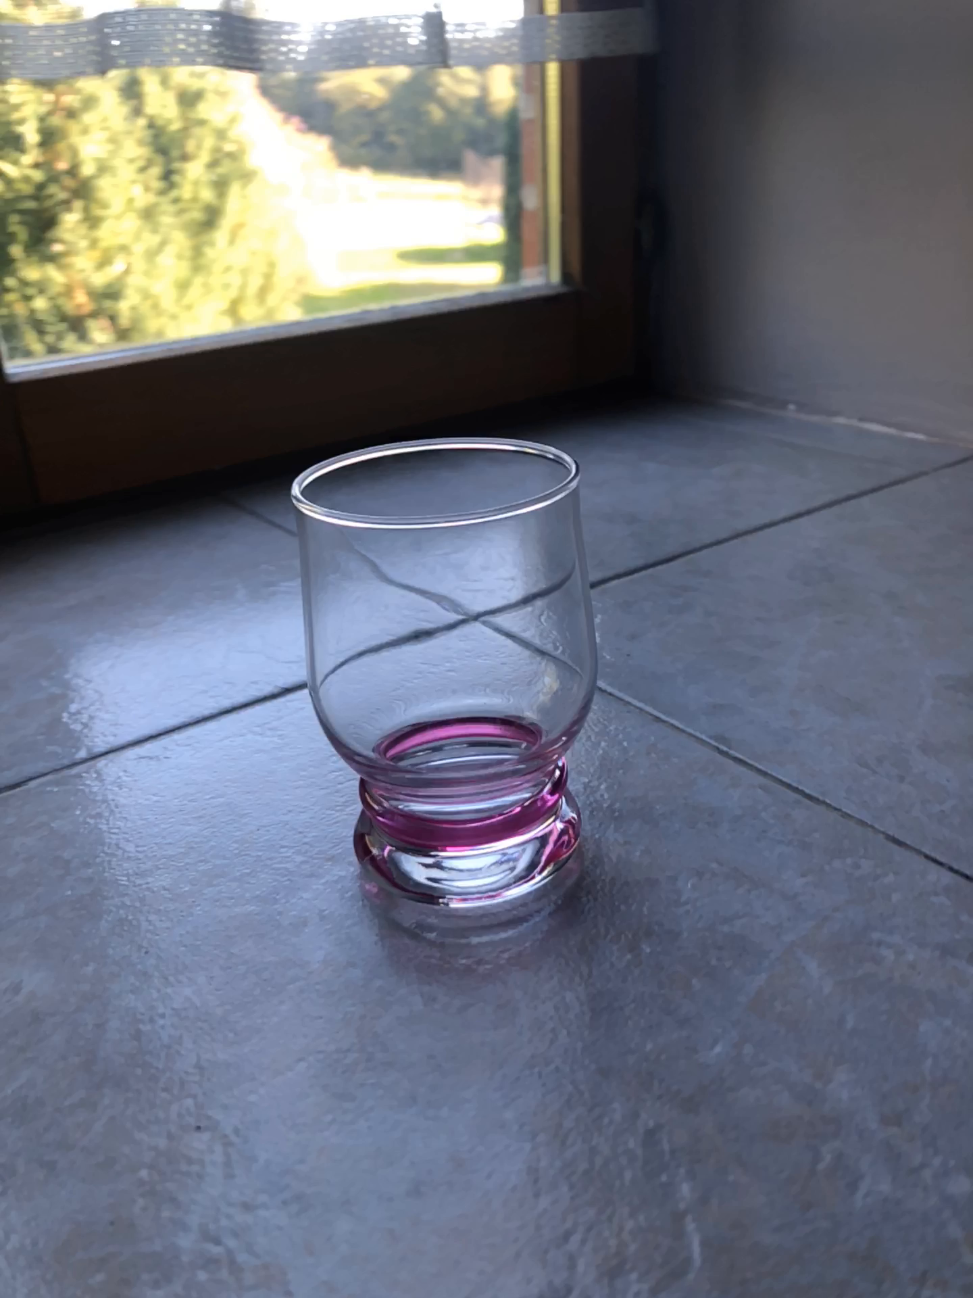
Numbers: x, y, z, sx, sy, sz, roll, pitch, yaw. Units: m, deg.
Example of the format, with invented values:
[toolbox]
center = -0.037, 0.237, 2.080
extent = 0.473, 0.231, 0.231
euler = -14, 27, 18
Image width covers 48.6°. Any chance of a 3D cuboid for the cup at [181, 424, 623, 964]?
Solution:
[cup]
center = -0.013, 0.005, 0.268
extent = 0.079, 0.102, 0.079
euler = -2, 25, 1
